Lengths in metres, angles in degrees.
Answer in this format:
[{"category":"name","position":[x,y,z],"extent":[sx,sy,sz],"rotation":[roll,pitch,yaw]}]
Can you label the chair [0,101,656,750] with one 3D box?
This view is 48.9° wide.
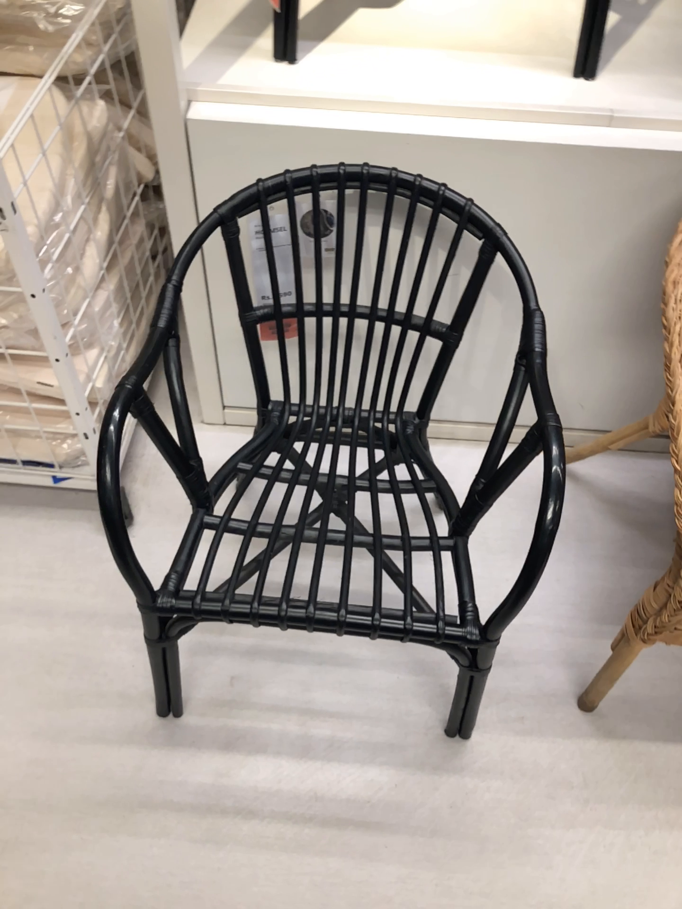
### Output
[{"category":"chair","position":[-0.023,0.025,1.030],"extent":[0.550,0.756,0.473],"rotation":[5,53,2]}]
